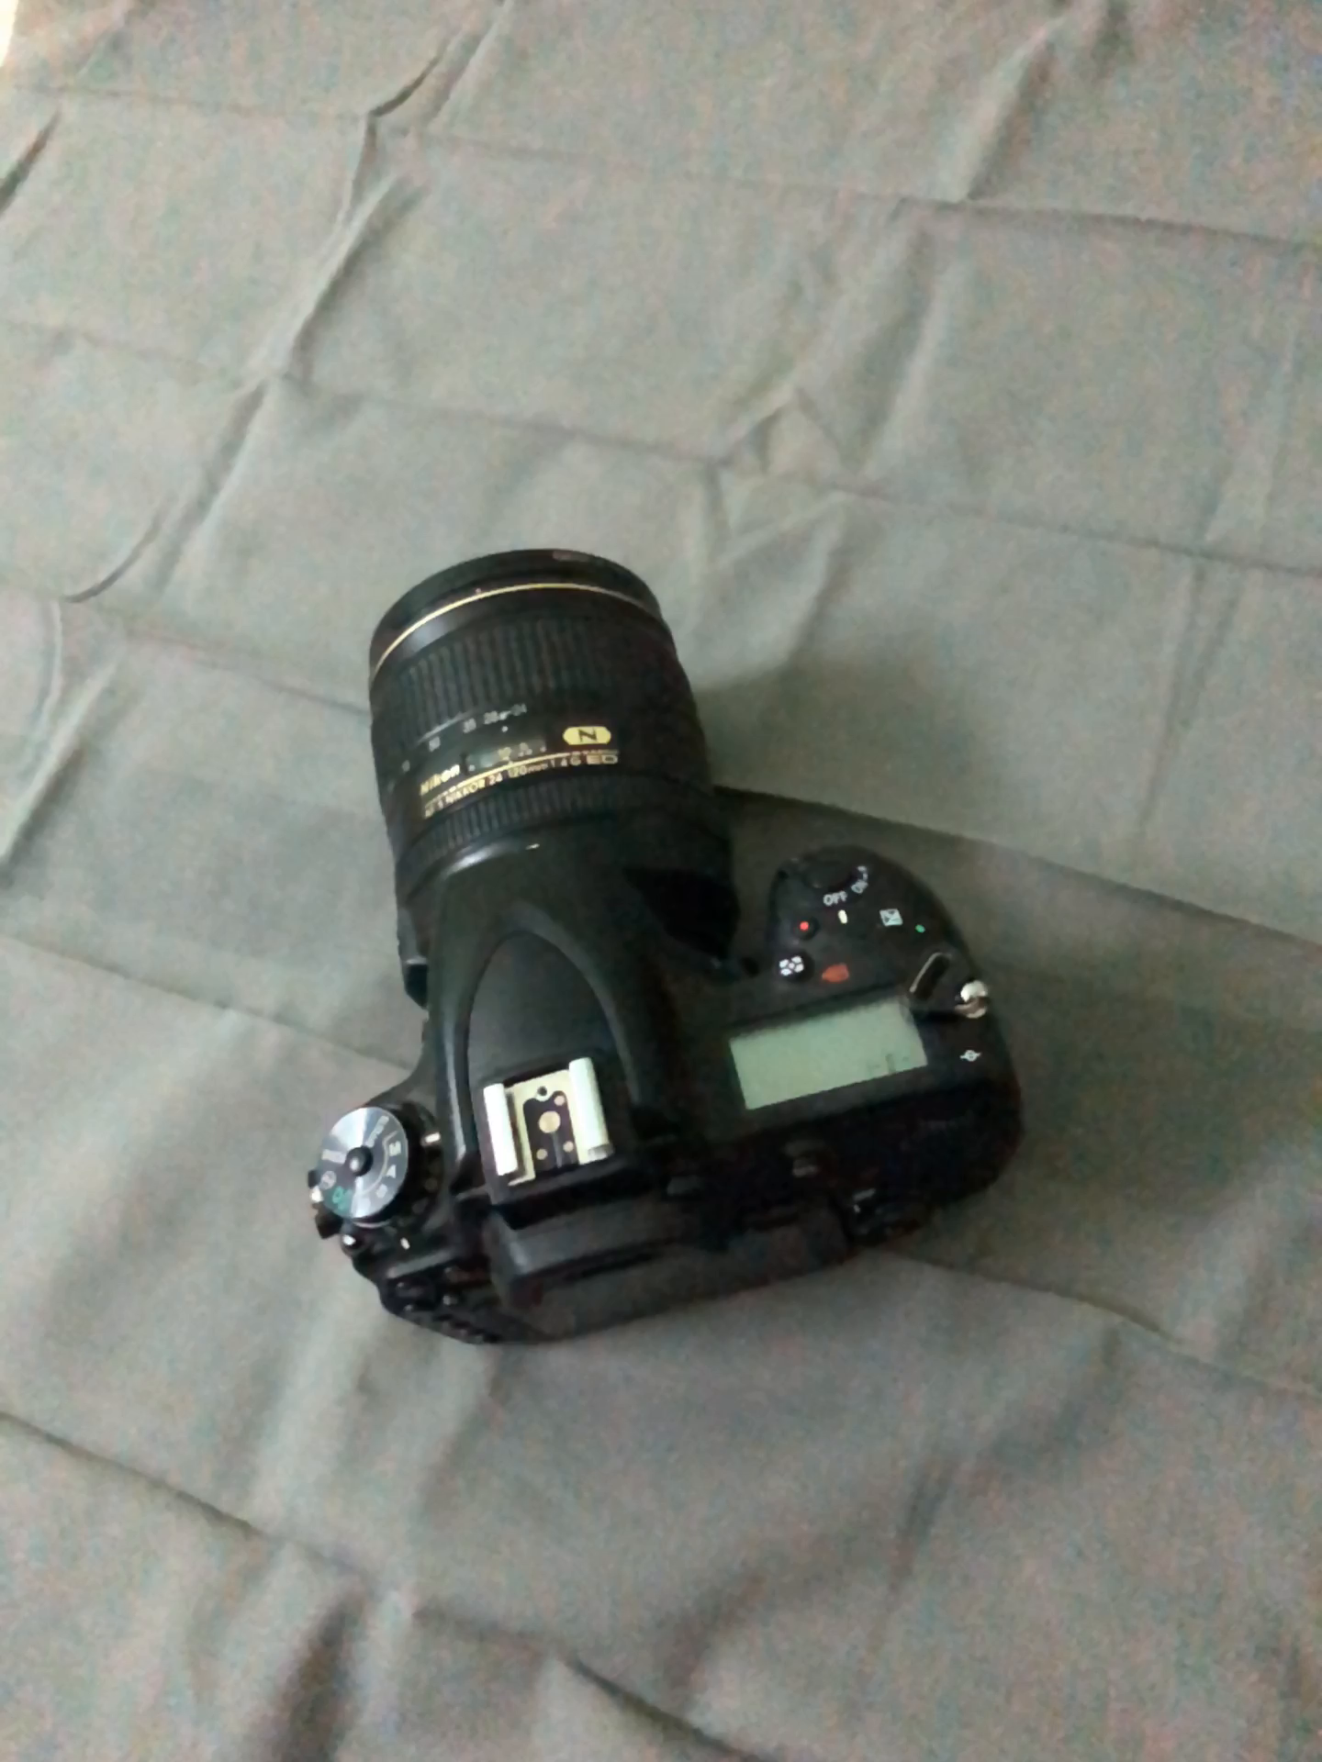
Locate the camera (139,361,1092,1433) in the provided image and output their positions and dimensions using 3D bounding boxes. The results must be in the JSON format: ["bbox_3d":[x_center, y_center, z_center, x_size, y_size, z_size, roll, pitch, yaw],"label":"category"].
[{"bbox_3d":[-0.009,0.014,0.325,0.146,0.135,0.164,-16,63,5],"label":"camera"}]
